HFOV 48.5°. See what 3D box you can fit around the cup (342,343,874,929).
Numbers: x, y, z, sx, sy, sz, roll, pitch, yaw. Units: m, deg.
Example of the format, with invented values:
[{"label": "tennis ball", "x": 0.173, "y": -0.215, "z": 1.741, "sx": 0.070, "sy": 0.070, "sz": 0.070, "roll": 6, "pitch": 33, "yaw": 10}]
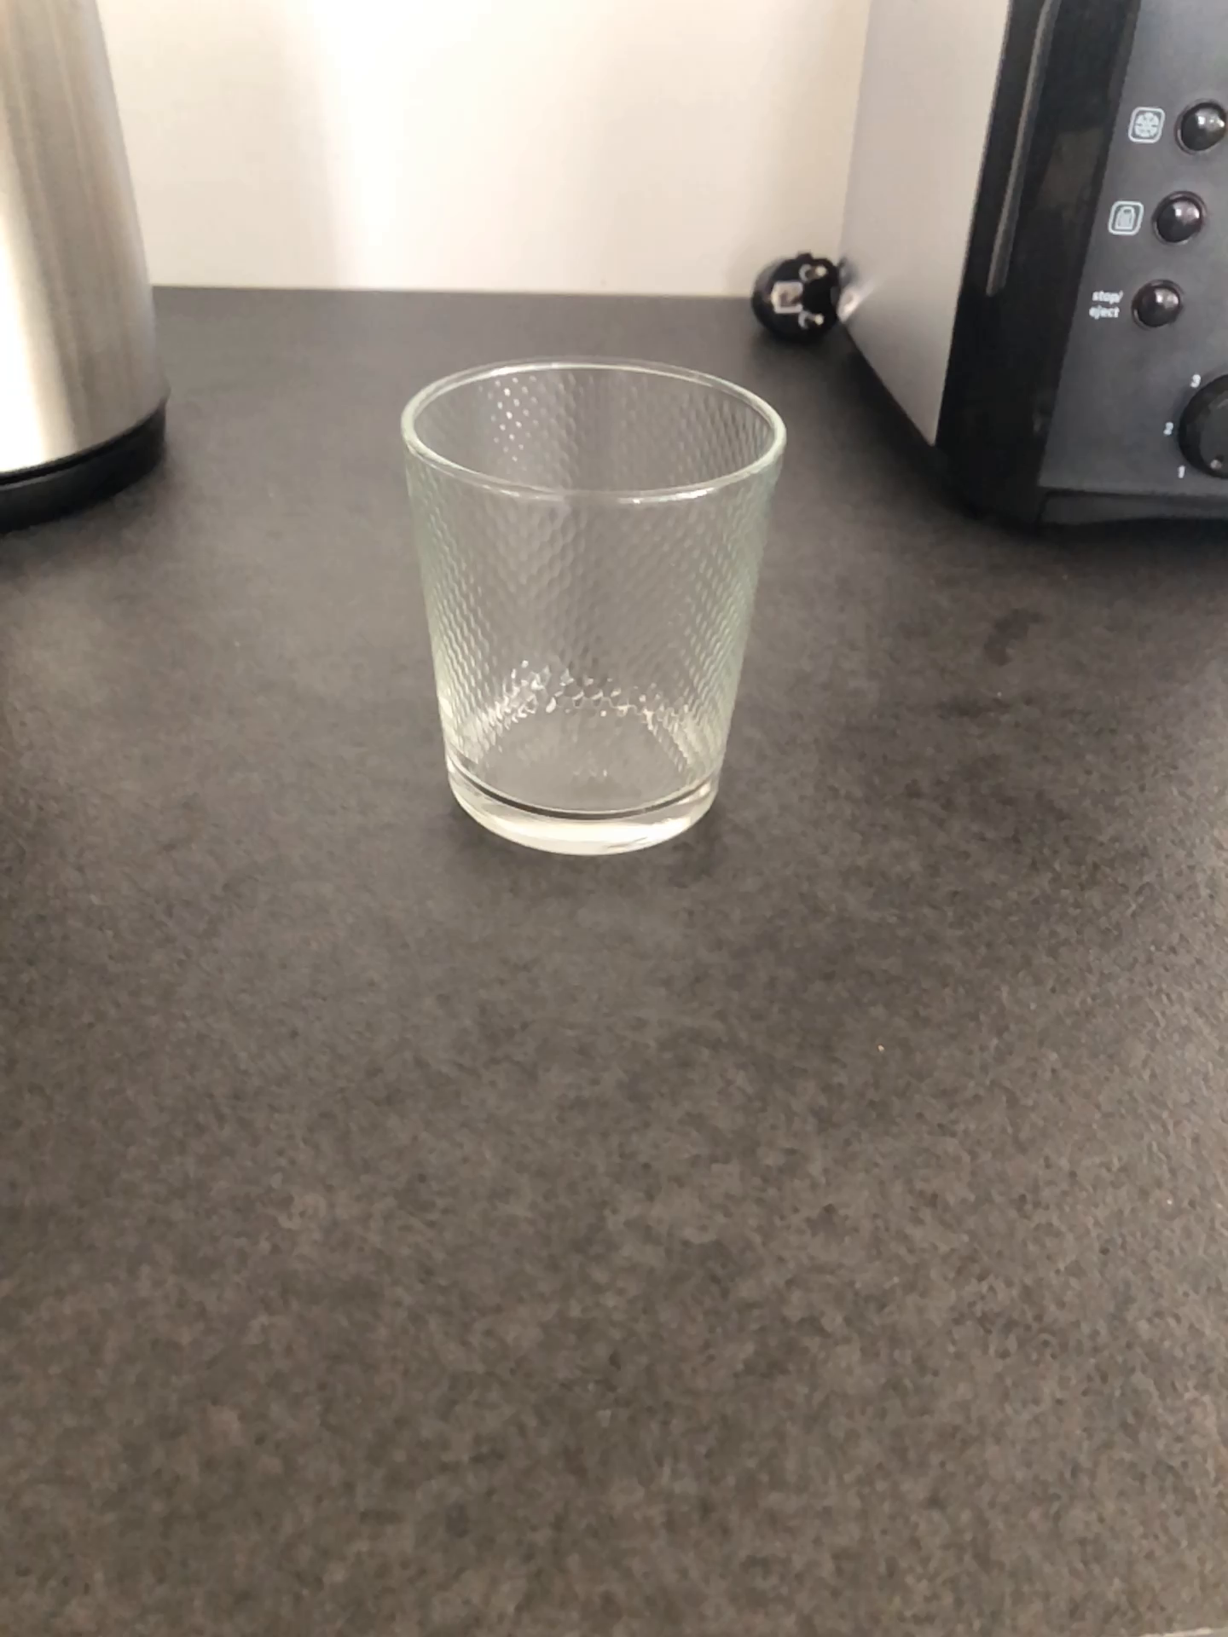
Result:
[{"label": "cup", "x": -0.006, "y": -0.044, "z": 0.297, "sx": 0.080, "sy": 0.089, "sz": 0.080, "roll": 2, "pitch": 34, "yaw": -2}]
